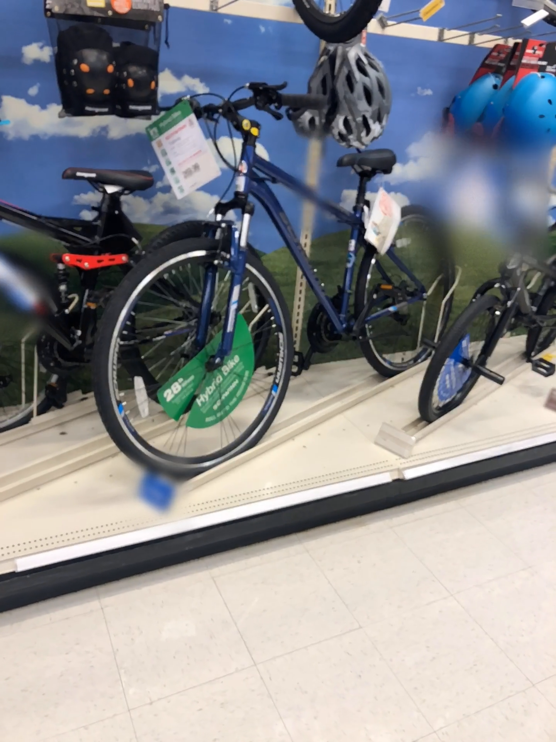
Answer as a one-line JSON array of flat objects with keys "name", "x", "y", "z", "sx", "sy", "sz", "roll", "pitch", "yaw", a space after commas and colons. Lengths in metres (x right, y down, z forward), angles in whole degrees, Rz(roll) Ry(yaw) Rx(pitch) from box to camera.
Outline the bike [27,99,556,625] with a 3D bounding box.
[{"name": "bike", "x": 0.175, "y": -0.247, "z": 2.006, "sx": 0.531, "sy": 1.098, "sz": 1.742, "roll": 25, "pitch": 34, "yaw": 36}]
